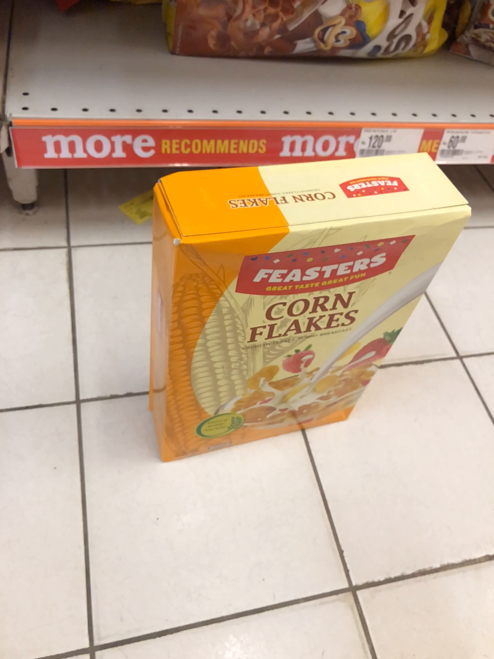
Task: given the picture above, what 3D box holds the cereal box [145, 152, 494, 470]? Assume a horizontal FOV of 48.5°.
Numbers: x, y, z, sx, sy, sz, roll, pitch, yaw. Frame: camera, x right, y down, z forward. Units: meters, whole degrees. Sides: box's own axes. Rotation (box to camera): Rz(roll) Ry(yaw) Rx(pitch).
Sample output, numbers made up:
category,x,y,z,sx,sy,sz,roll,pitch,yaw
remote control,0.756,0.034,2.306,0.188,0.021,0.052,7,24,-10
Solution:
category,x,y,z,sx,sy,sz,roll,pitch,yaw
cereal box,0.027,0.001,0.399,0.190,0.248,0.060,-9,54,-17
